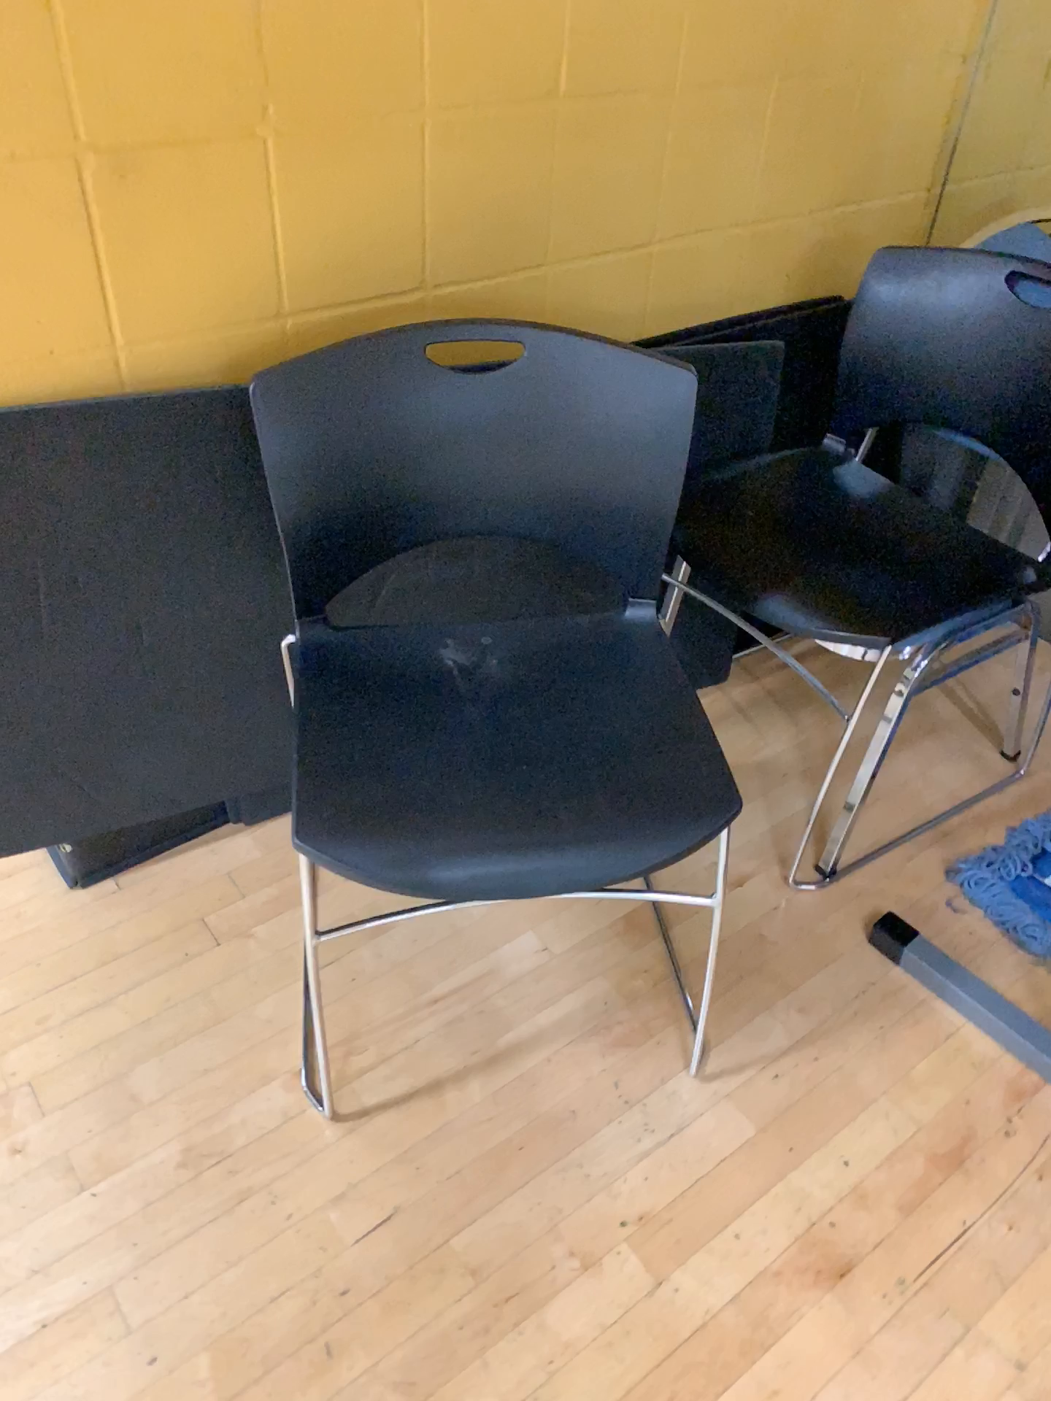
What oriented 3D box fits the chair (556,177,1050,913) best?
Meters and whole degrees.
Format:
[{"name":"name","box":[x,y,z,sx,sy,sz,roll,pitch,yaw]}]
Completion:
[{"name":"chair","box":[0.591,-0.293,1.690,0.777,0.762,0.679,-20,47,-27]}]

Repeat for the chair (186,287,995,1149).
[{"name":"chair","box":[-0.016,-0.011,1.316,0.636,0.722,0.730,-3,42,-10]}]
